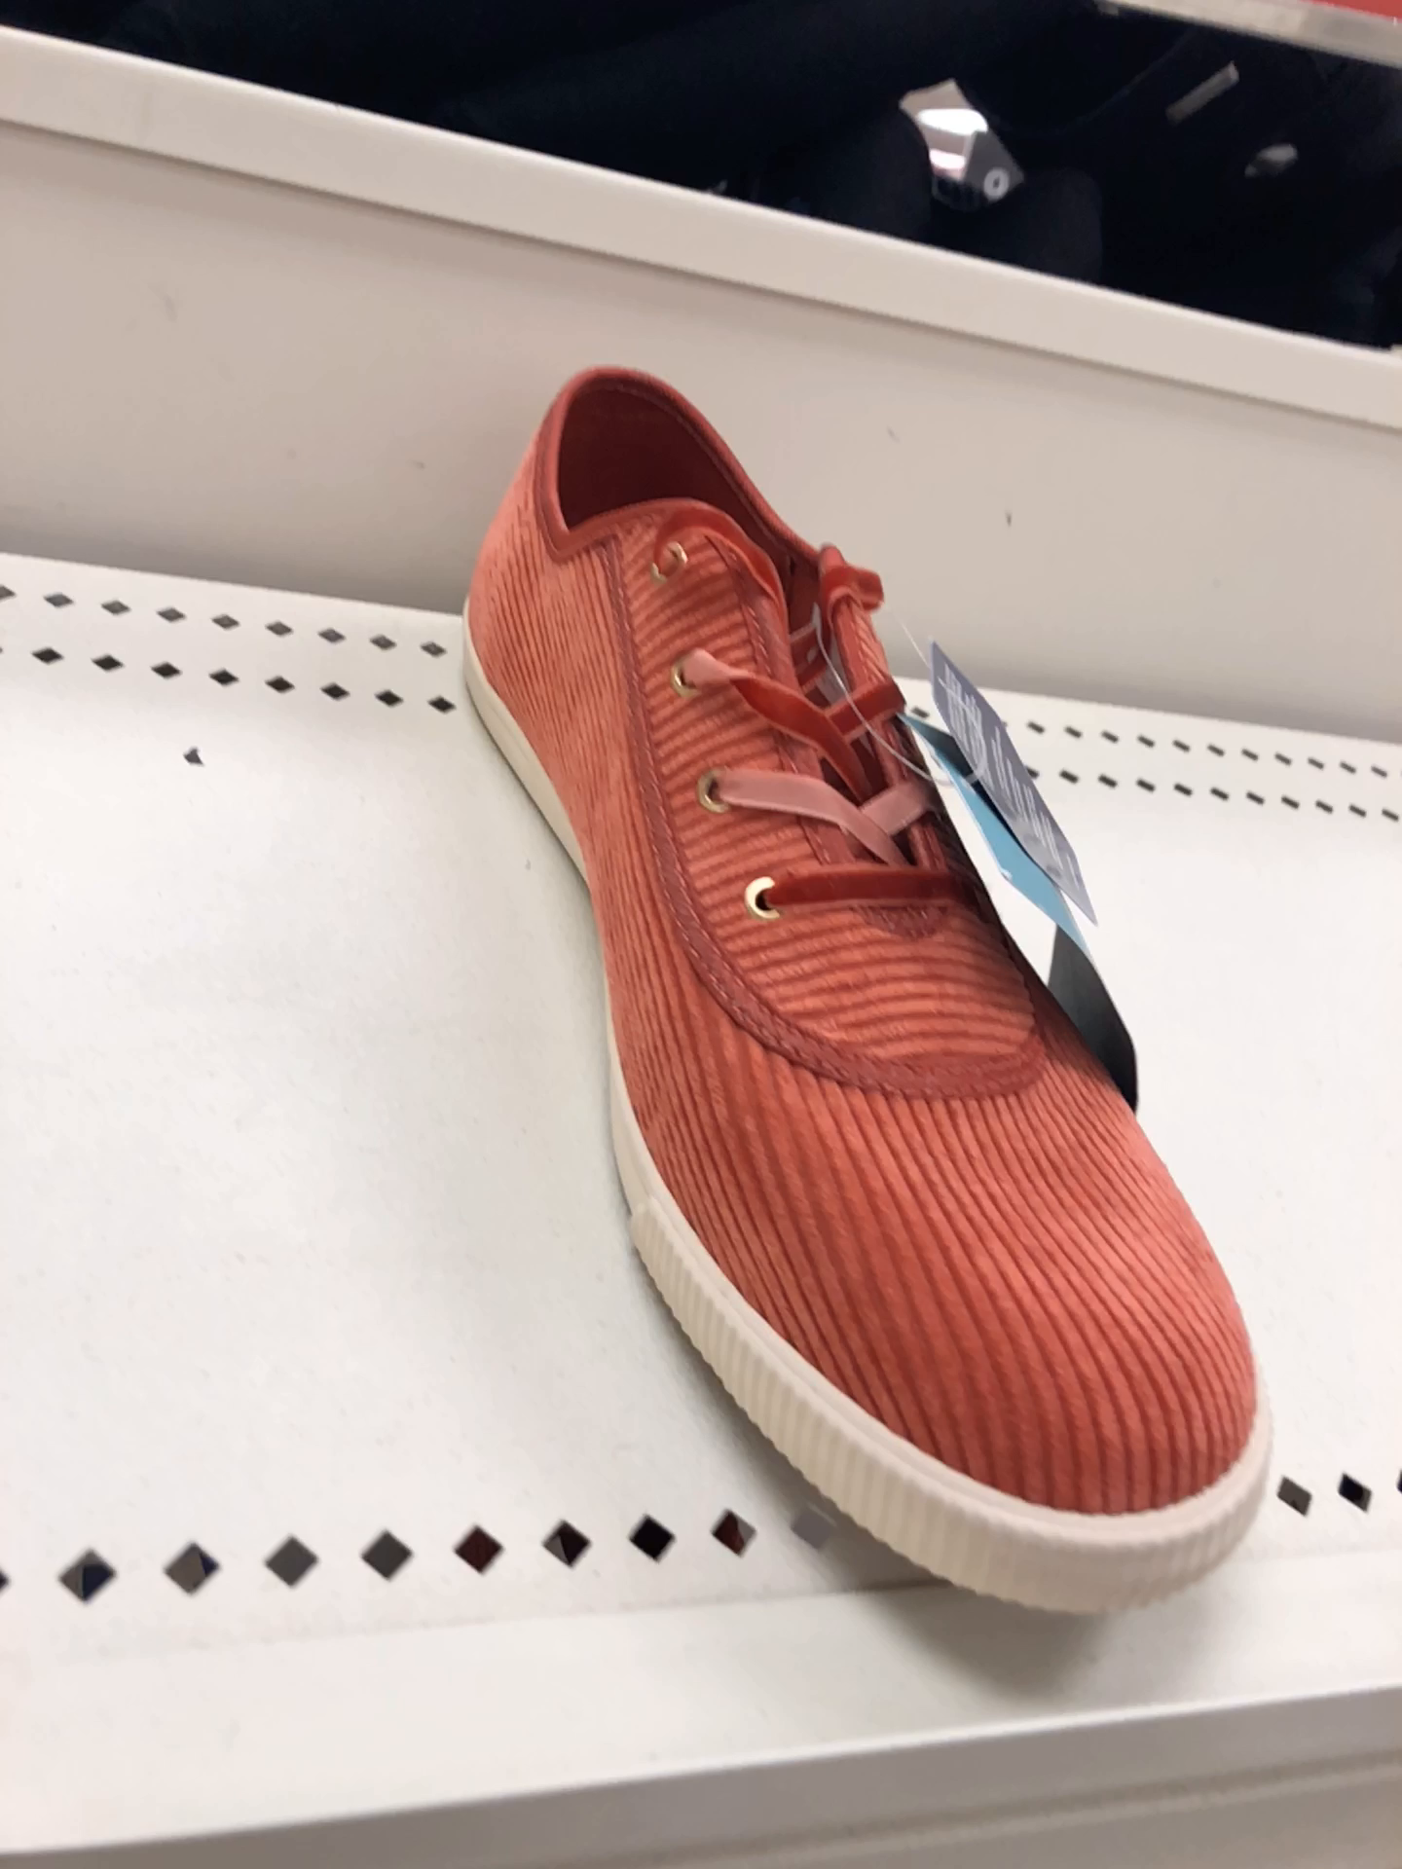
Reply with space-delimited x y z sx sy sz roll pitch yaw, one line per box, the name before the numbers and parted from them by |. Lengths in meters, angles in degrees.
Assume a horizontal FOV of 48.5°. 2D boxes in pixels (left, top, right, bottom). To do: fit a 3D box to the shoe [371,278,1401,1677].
shoe | 0.016 -0.034 0.318 0.100 0.089 0.322 2 35 -24
